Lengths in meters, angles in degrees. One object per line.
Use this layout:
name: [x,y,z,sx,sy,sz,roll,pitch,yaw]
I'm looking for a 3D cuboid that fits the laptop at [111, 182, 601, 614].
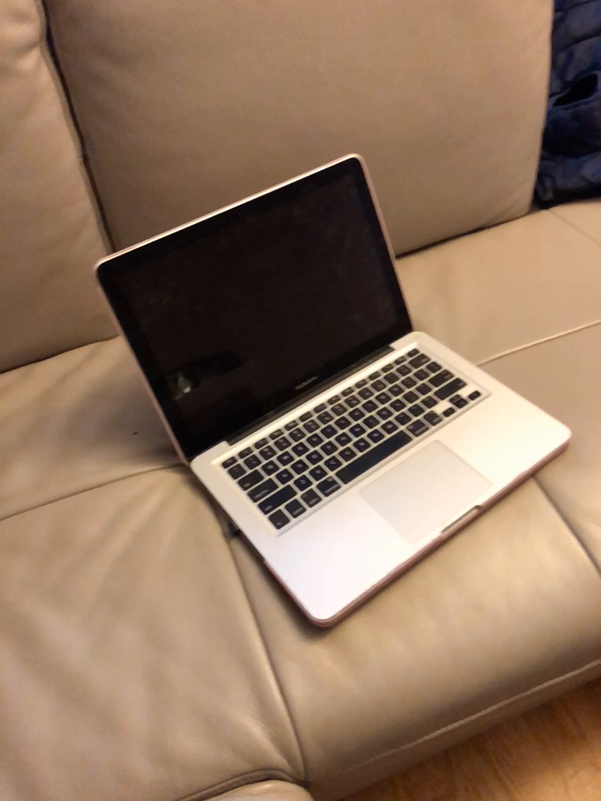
laptop: [0.045,-0.032,0.618,0.305,0.177,0.307,-30,47,-22]
